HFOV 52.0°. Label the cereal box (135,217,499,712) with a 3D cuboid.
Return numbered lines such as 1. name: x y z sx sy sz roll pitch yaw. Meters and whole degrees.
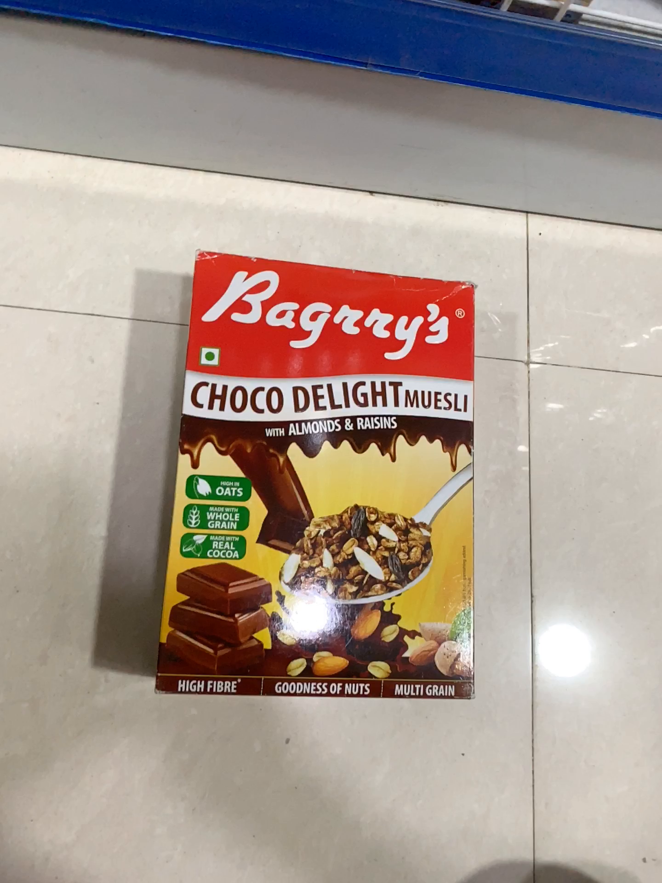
1. cereal box: -0.003 0.016 0.438 0.200 0.080 0.280 5 78 -9
